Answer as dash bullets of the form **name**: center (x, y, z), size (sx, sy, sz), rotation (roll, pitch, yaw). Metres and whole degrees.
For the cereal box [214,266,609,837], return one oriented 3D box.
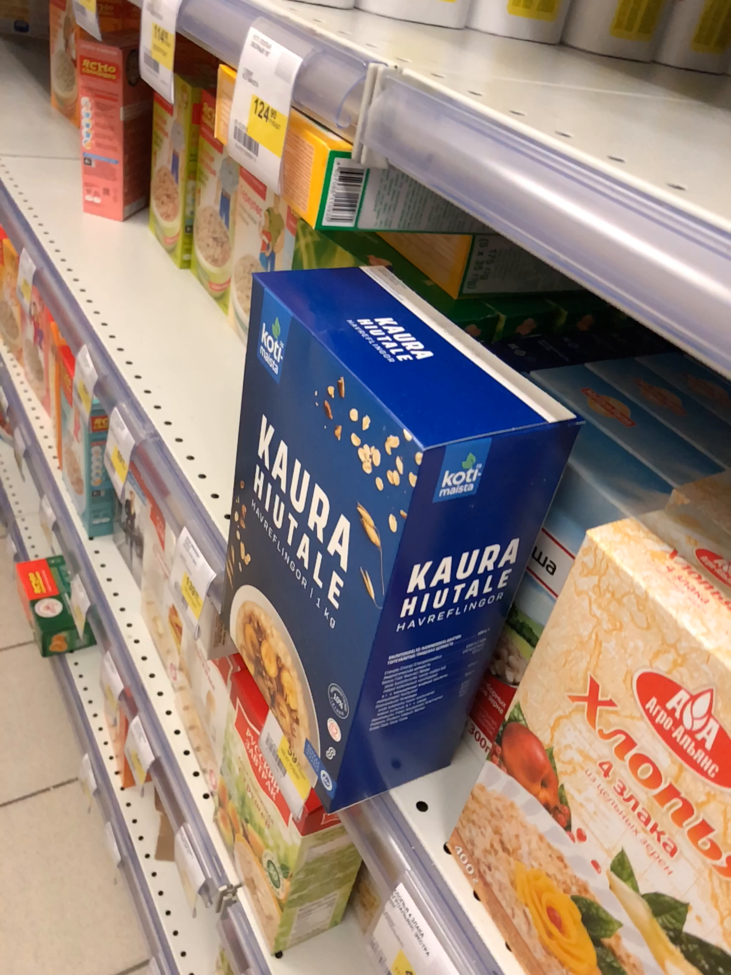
- **cereal box**: center (0.000, 0.031, 0.402), size (0.080, 0.229, 0.151), rotation (-11, 42, -31)
